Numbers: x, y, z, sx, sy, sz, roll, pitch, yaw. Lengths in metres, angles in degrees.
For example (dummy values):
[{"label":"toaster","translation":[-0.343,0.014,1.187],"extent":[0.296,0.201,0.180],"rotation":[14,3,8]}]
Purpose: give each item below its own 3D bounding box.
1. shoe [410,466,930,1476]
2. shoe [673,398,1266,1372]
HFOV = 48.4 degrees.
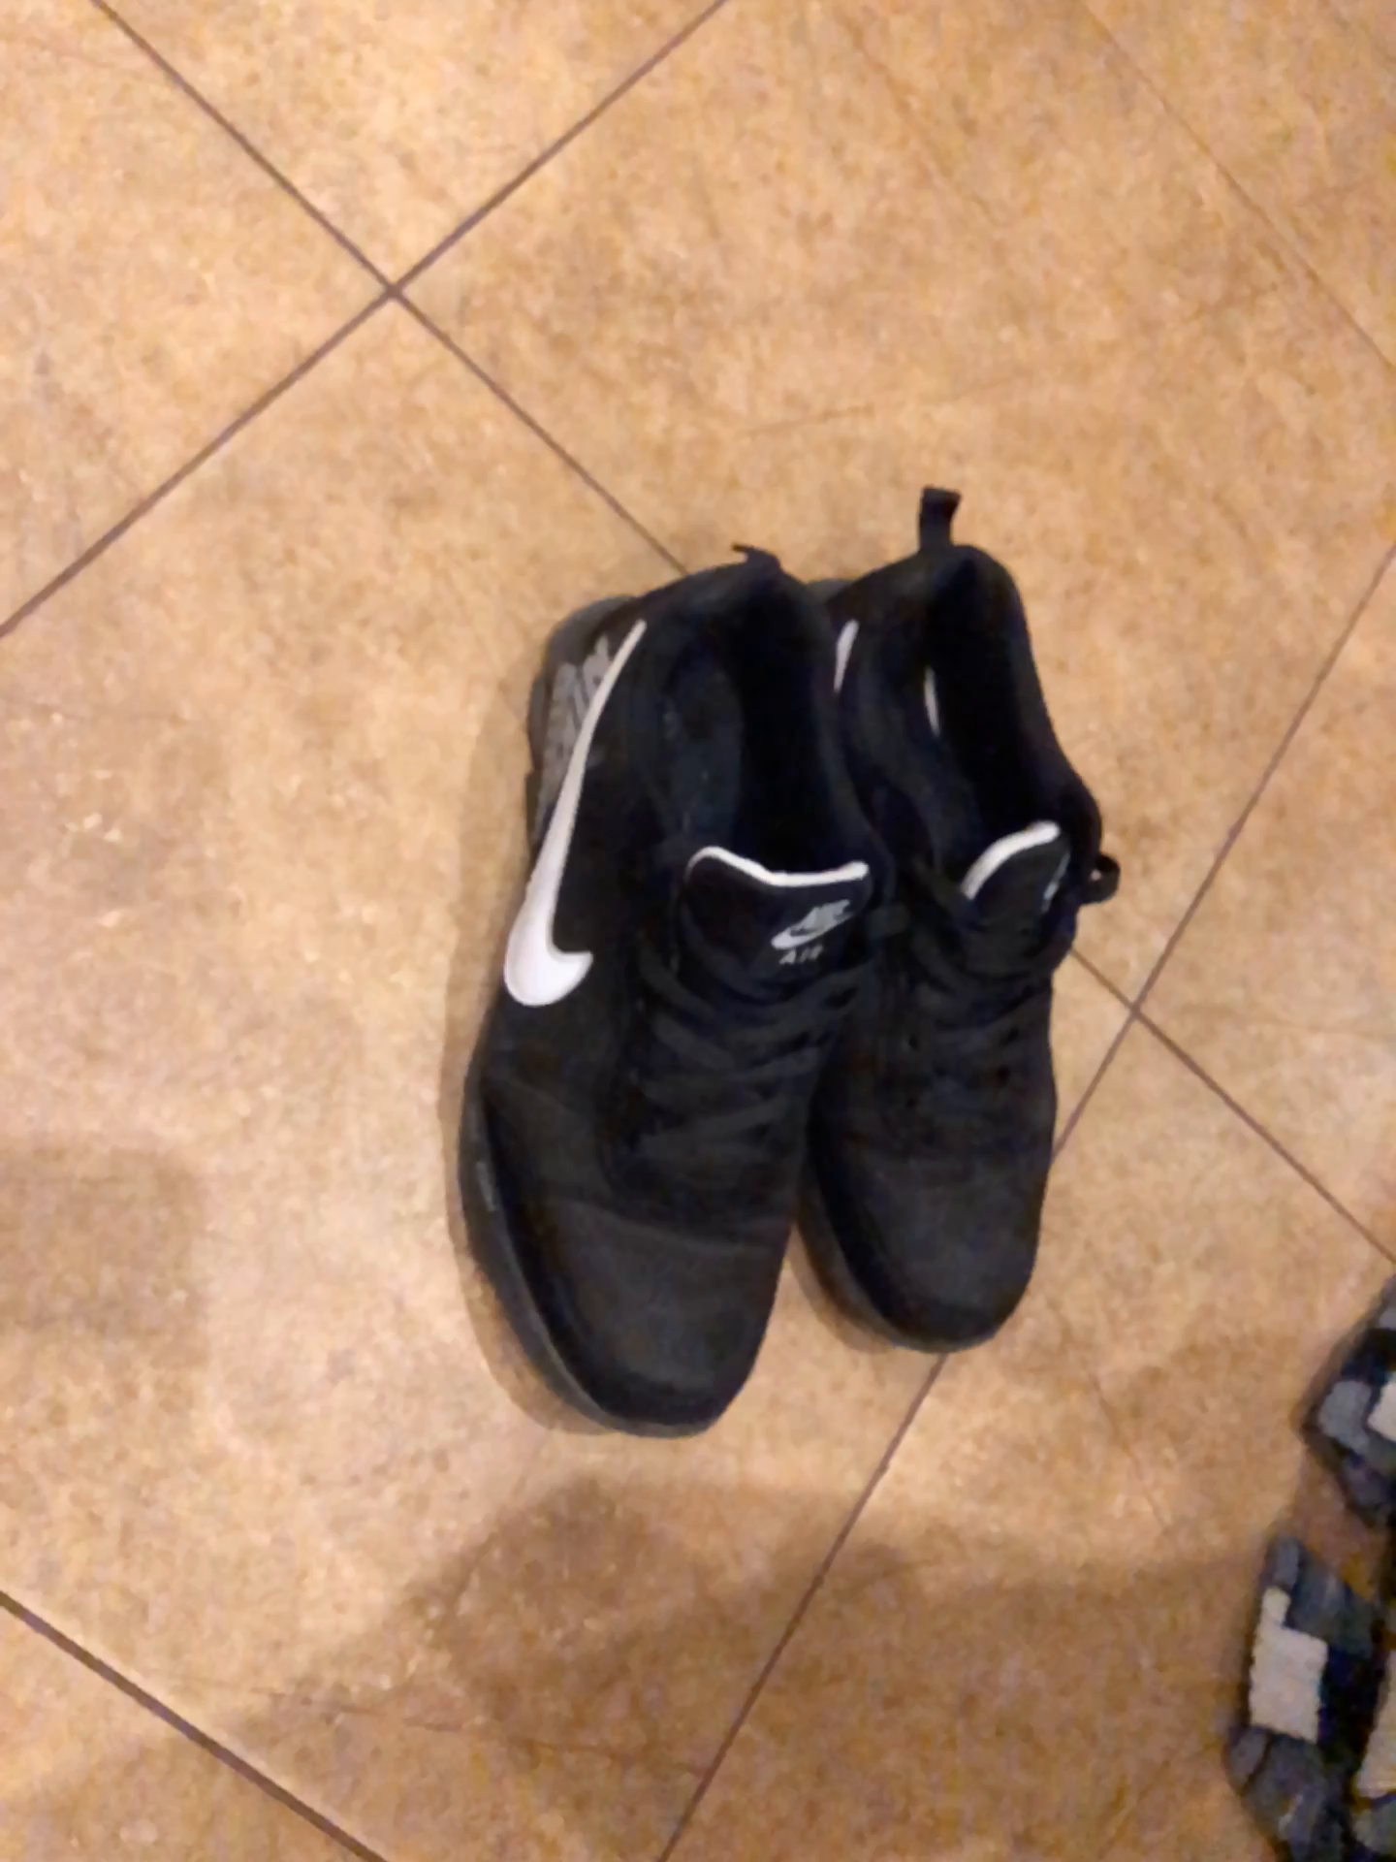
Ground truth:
[{"label":"shoe","translation":[-0.008,0.019,0.481],"extent":[0.110,0.120,0.270],"rotation":[9,74,-24]},{"label":"shoe","translation":[0.085,-0.011,0.545],"extent":[0.120,0.120,0.300],"rotation":[-1,78,-26]}]
